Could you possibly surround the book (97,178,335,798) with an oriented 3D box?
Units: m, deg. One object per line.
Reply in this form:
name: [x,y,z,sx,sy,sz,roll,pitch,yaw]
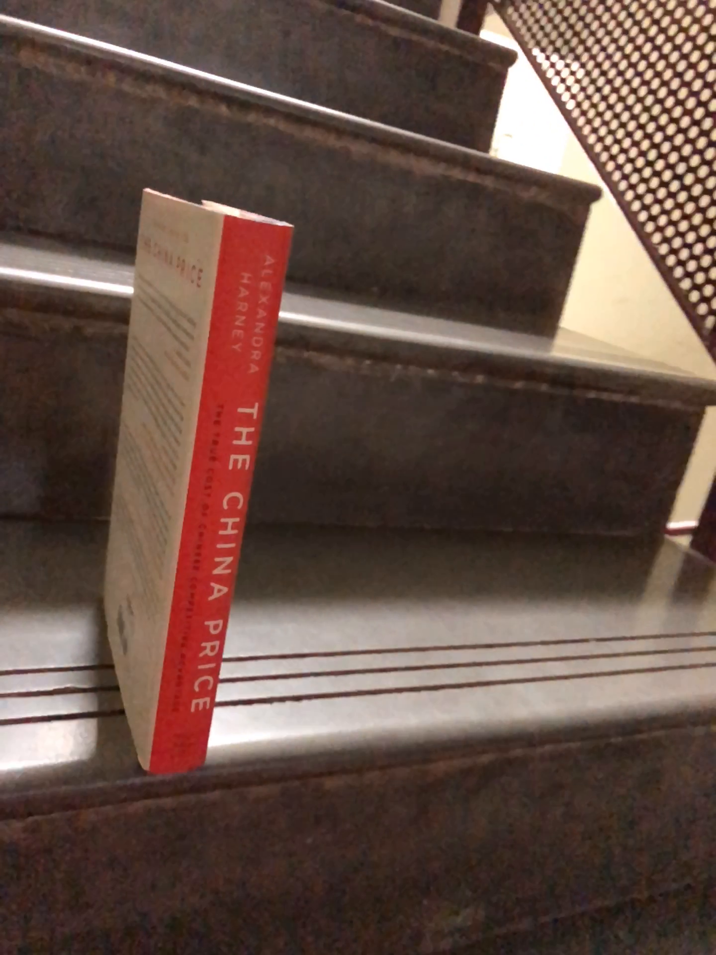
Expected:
book: [-0.084,-0.010,0.382,0.040,0.239,0.181,3,20,-25]
